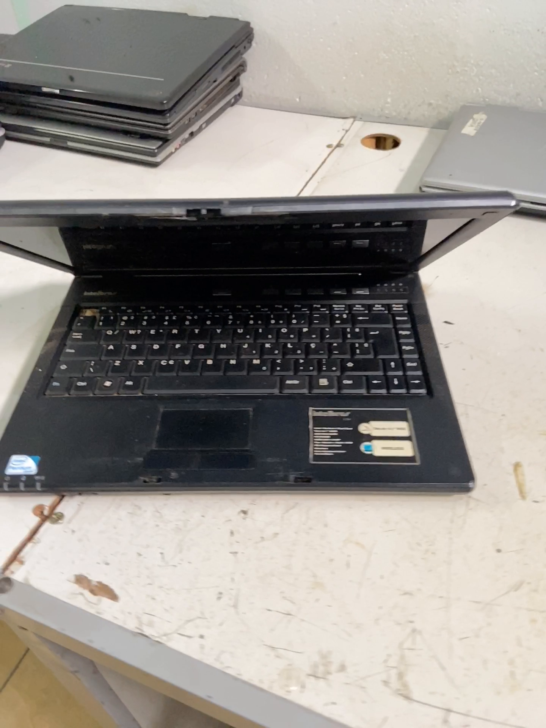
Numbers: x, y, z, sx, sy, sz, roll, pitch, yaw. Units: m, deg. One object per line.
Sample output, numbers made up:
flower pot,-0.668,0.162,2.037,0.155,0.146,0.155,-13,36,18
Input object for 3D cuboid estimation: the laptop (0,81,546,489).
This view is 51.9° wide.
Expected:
laptop,-0.030,-0.064,0.394,0.324,0.168,0.237,-1,45,2
